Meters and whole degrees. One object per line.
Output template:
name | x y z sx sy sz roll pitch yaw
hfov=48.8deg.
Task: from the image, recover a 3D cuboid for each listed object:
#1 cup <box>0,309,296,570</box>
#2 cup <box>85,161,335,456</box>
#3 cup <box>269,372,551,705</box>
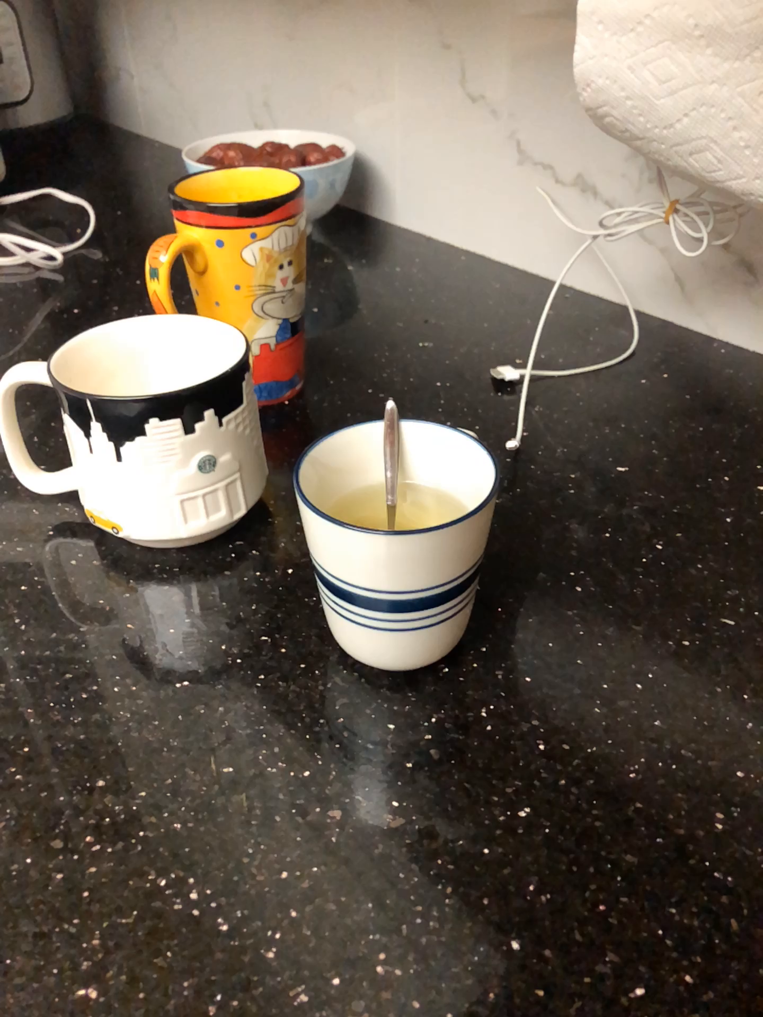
cup | -0.136 -0.042 0.488 0.150 0.109 0.101 2 36 5
cup | -0.107 -0.141 0.578 0.090 0.149 0.131 16 39 22
cup | 0.017 0.011 0.403 0.100 0.109 0.090 12 37 17
